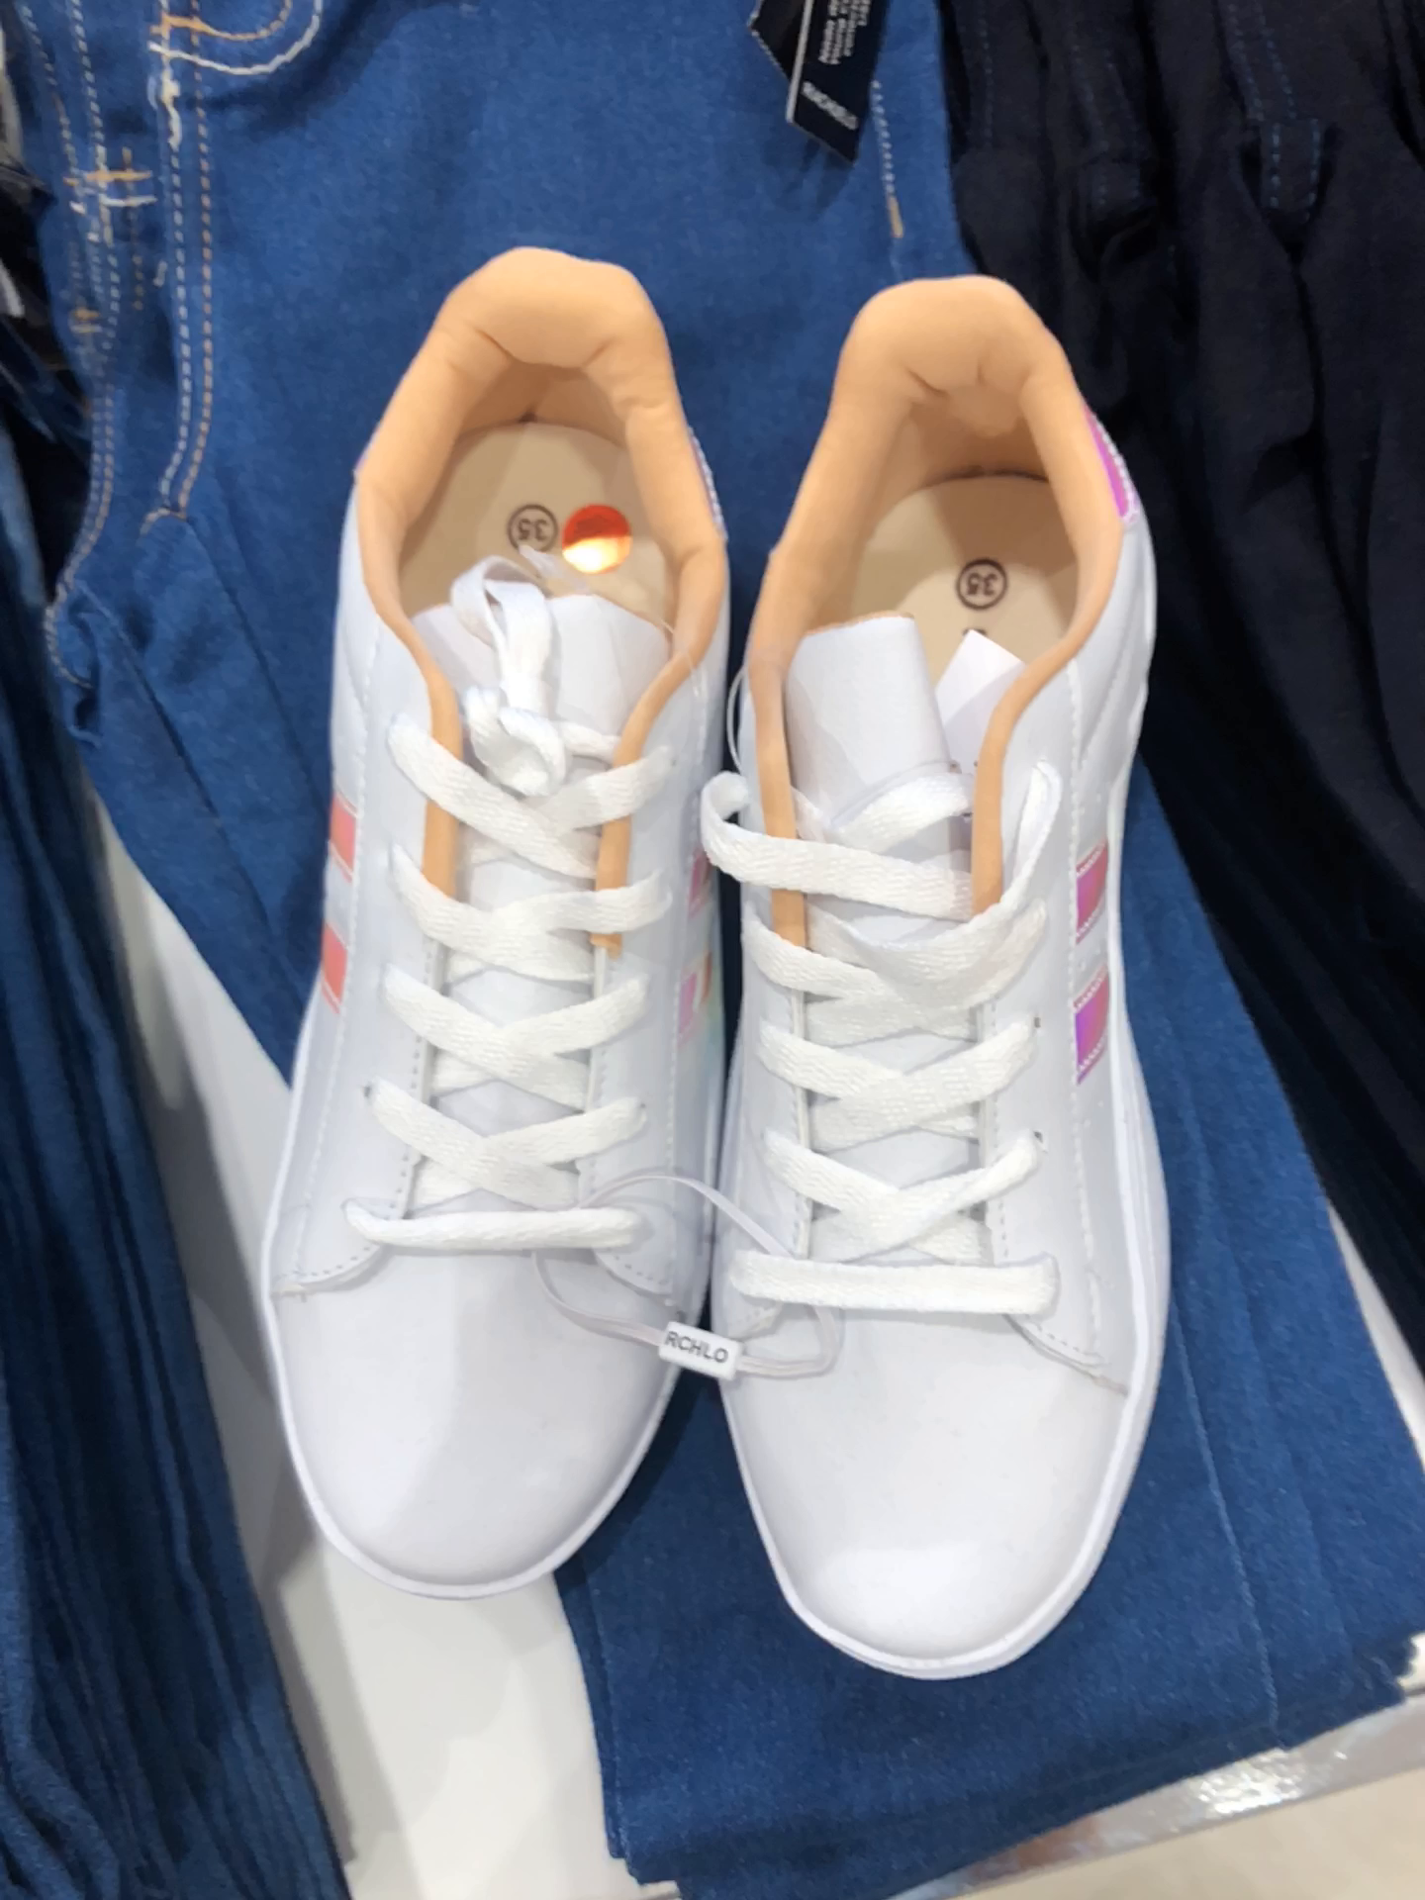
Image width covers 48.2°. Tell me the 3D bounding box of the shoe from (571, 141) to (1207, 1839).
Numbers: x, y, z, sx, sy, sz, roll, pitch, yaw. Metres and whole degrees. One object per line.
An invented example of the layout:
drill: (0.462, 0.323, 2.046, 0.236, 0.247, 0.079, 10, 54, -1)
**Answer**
shoe: (0.043, 0.003, 0.303, 0.090, 0.110, 0.260, 0, 78, 14)

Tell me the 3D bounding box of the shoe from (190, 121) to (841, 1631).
shoe: (-0.033, -0.013, 0.327, 0.090, 0.110, 0.260, 4, 79, -5)
